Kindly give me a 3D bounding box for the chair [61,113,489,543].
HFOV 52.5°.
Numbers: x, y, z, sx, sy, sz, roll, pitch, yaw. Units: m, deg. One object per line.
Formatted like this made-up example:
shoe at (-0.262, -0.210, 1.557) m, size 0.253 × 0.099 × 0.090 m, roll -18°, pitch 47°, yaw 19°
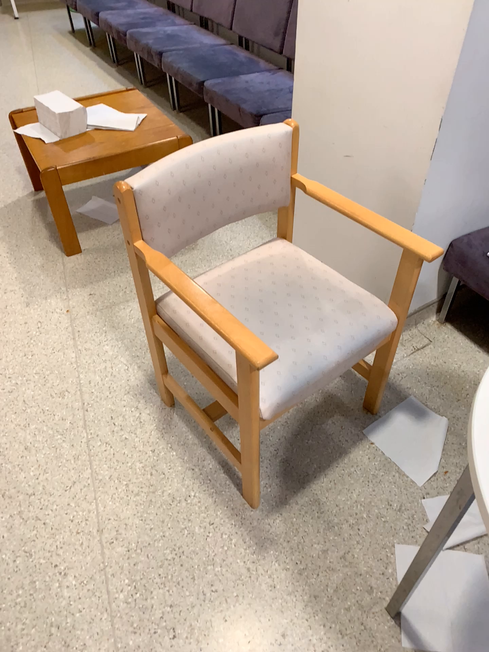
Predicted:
chair at (0.048, -0.036, 1.245) m, size 0.632 × 0.634 × 0.634 m, roll -28°, pitch 51°, yaw -25°
